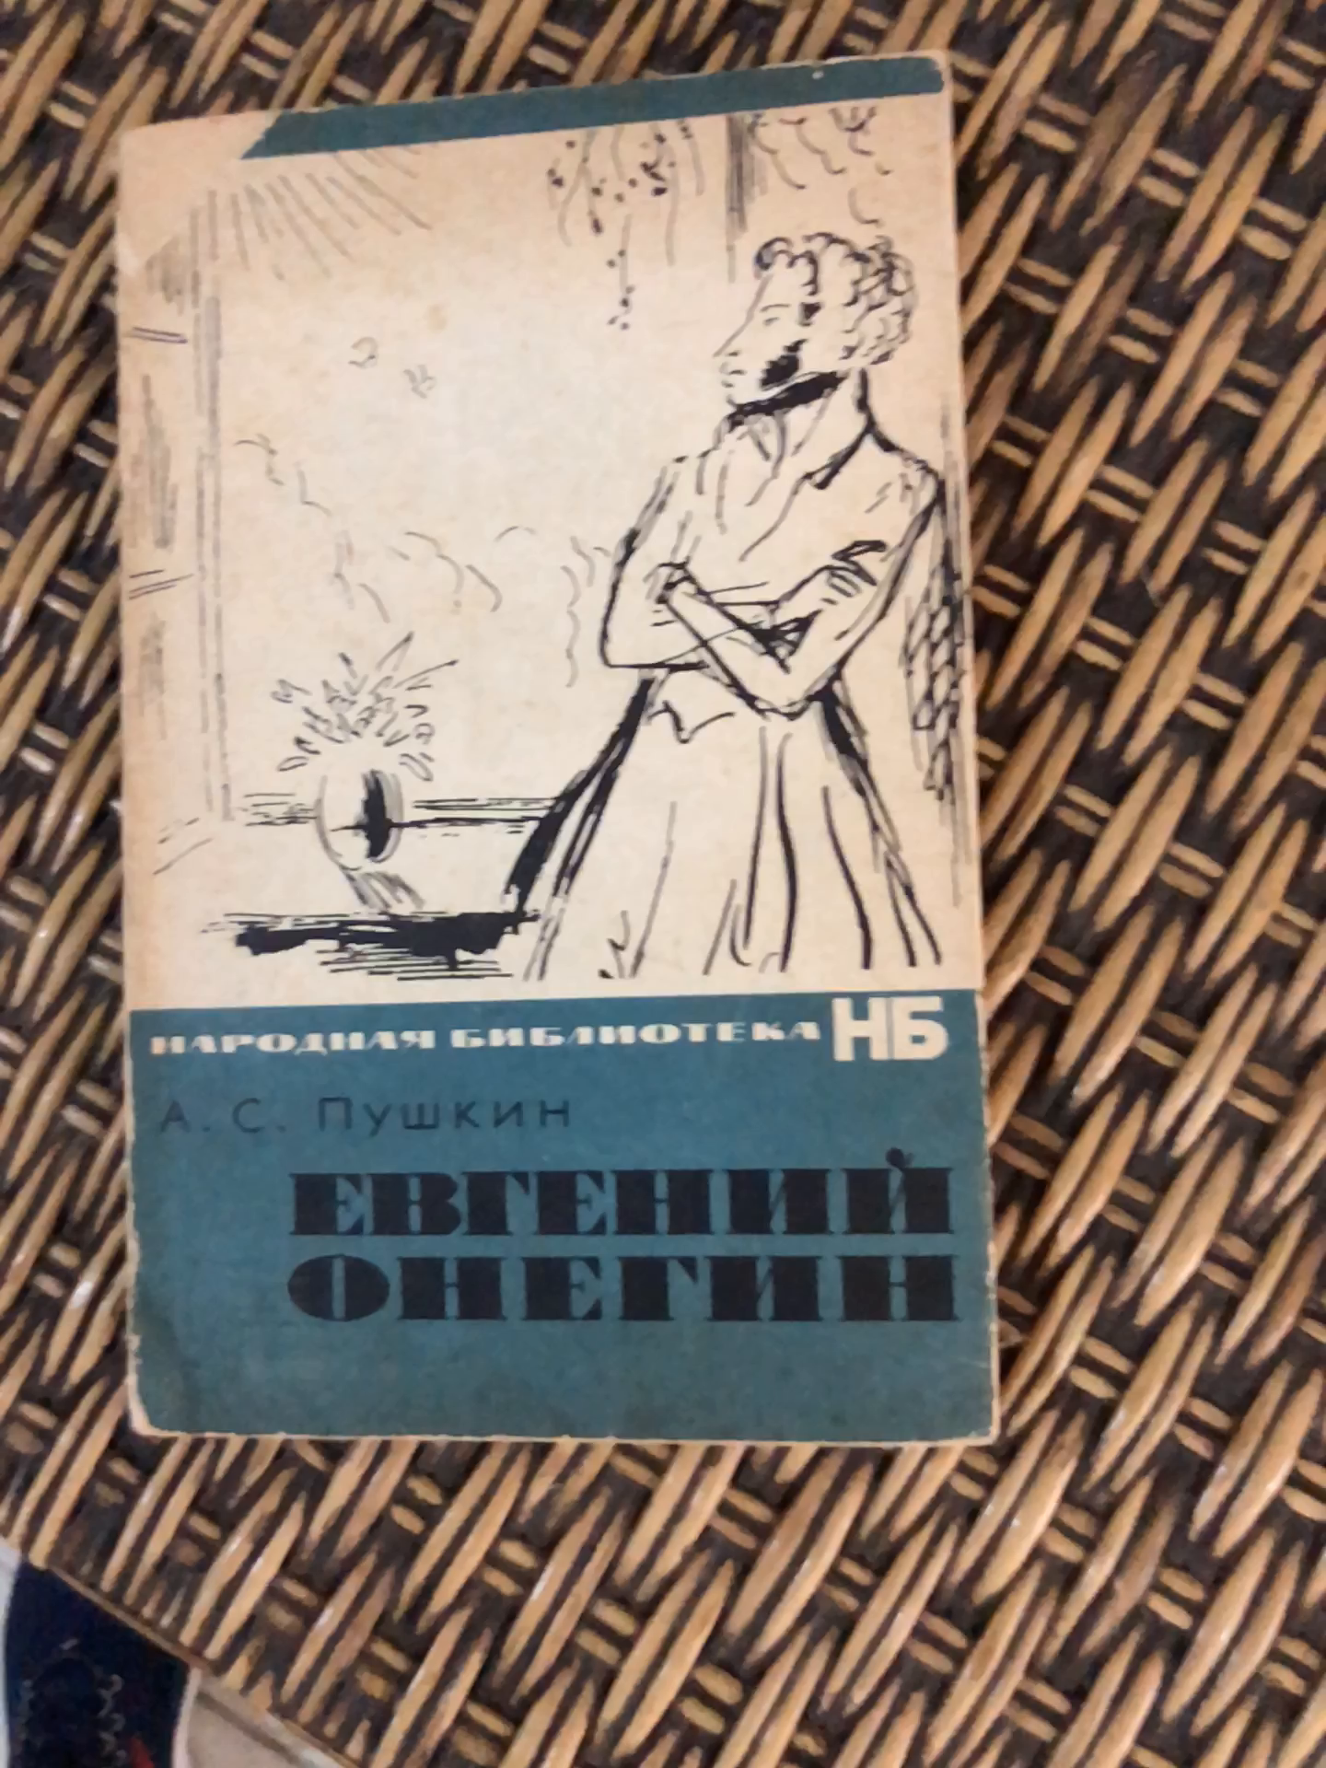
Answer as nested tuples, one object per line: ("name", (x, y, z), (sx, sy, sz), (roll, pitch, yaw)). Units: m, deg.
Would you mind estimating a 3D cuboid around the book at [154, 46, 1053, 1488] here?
("book", (-0.010, -0.015, 0.212), (0.120, 0.020, 0.190), (-2, 88, 7))
